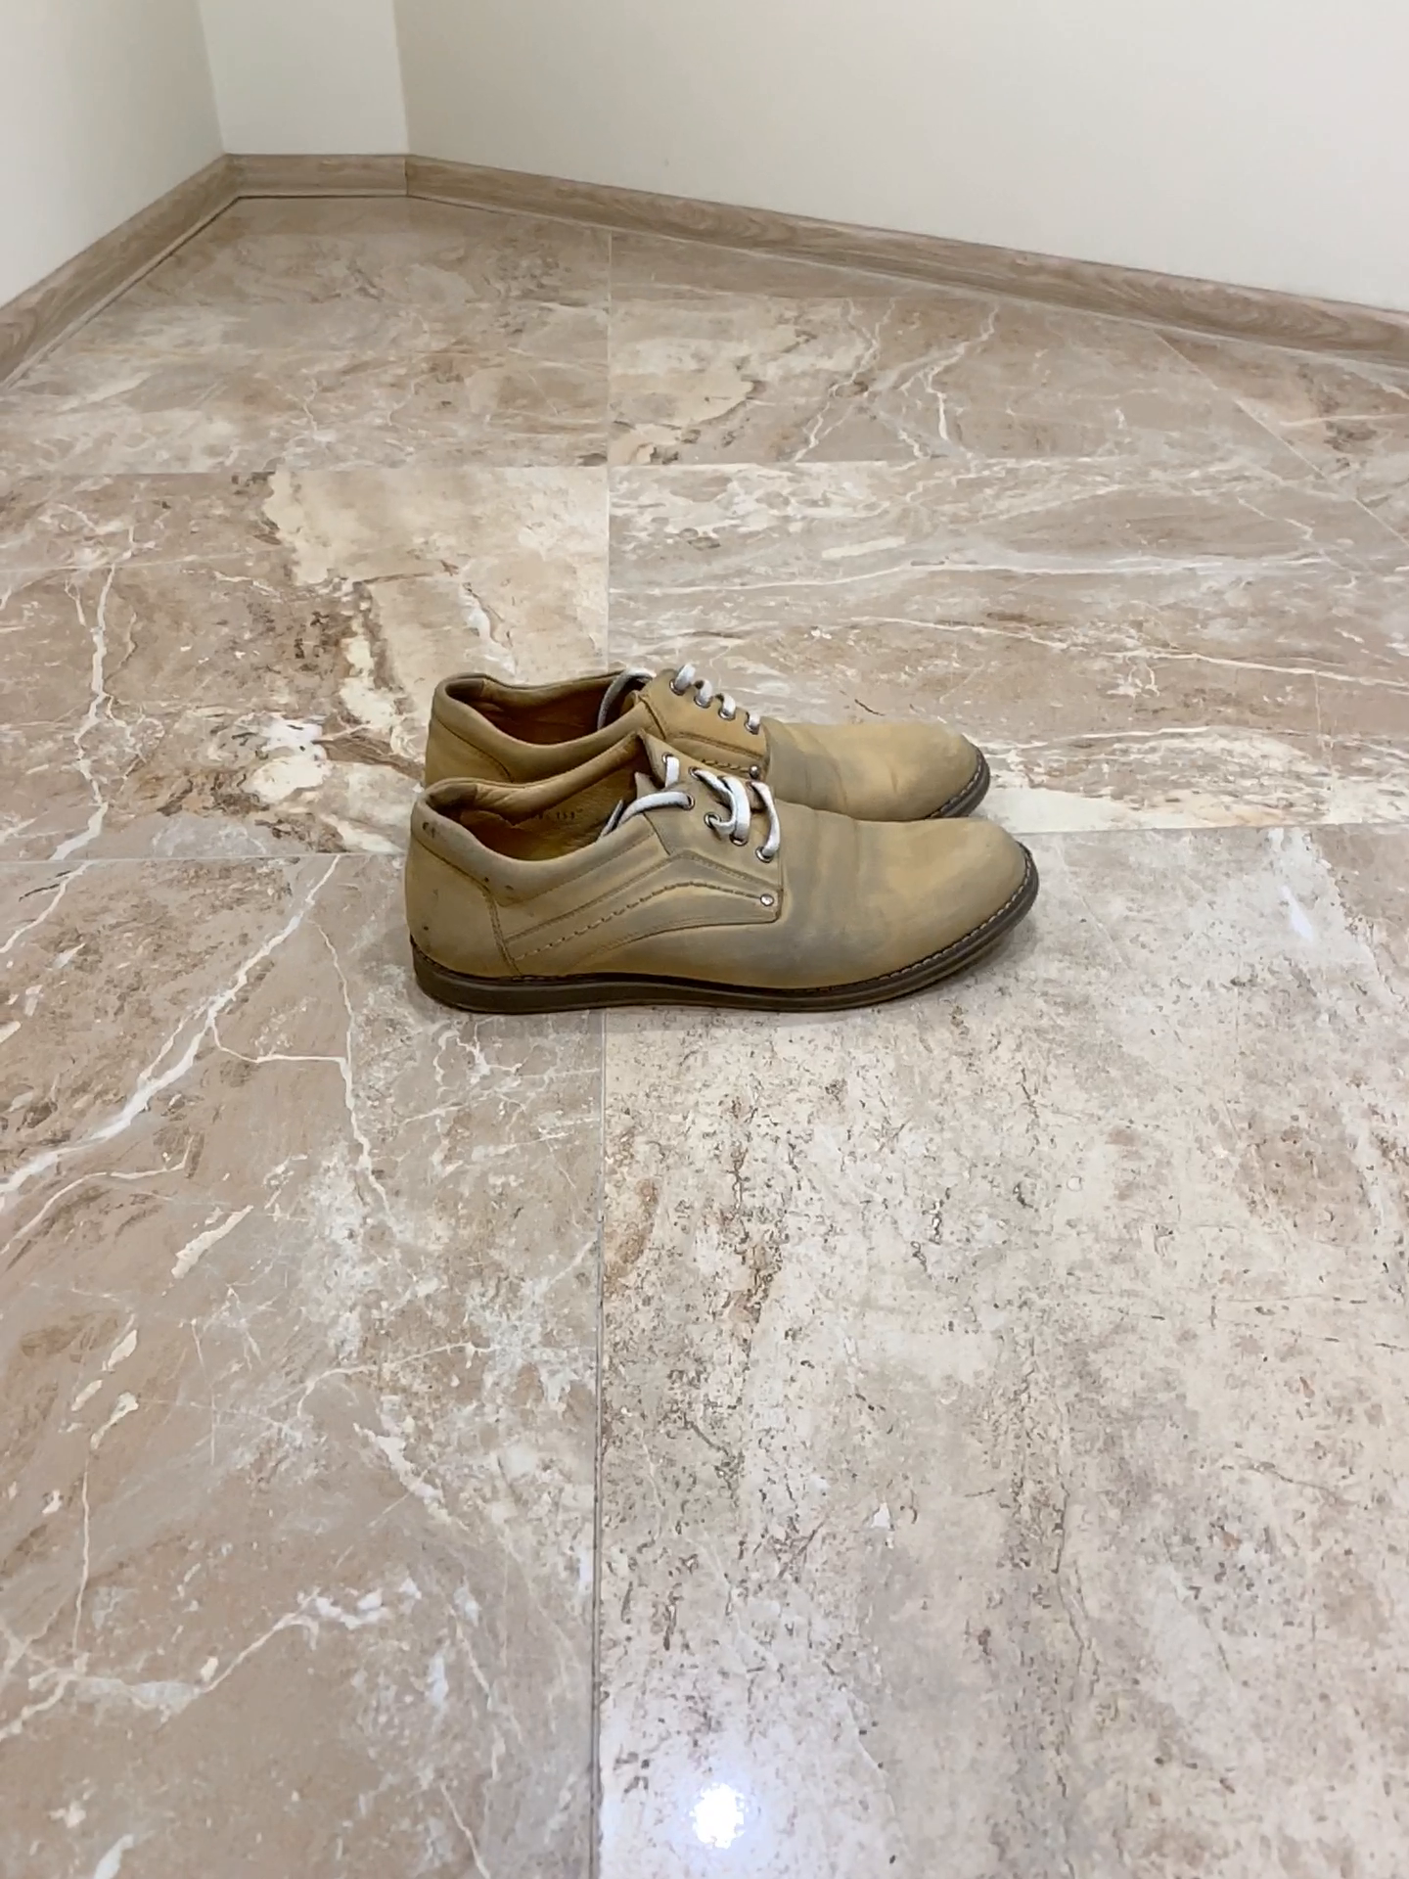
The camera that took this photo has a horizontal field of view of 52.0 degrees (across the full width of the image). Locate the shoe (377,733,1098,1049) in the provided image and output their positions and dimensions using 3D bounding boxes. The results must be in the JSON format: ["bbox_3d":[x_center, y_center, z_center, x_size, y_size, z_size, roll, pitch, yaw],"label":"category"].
[{"bbox_3d":[0.011,-0.024,0.627,0.280,0.080,0.111,-2,36,-3],"label":"shoe"}]

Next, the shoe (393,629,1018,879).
[{"bbox_3d":[-0.002,-0.094,0.710,0.280,0.070,0.111,-2,36,-3],"label":"shoe"}]
